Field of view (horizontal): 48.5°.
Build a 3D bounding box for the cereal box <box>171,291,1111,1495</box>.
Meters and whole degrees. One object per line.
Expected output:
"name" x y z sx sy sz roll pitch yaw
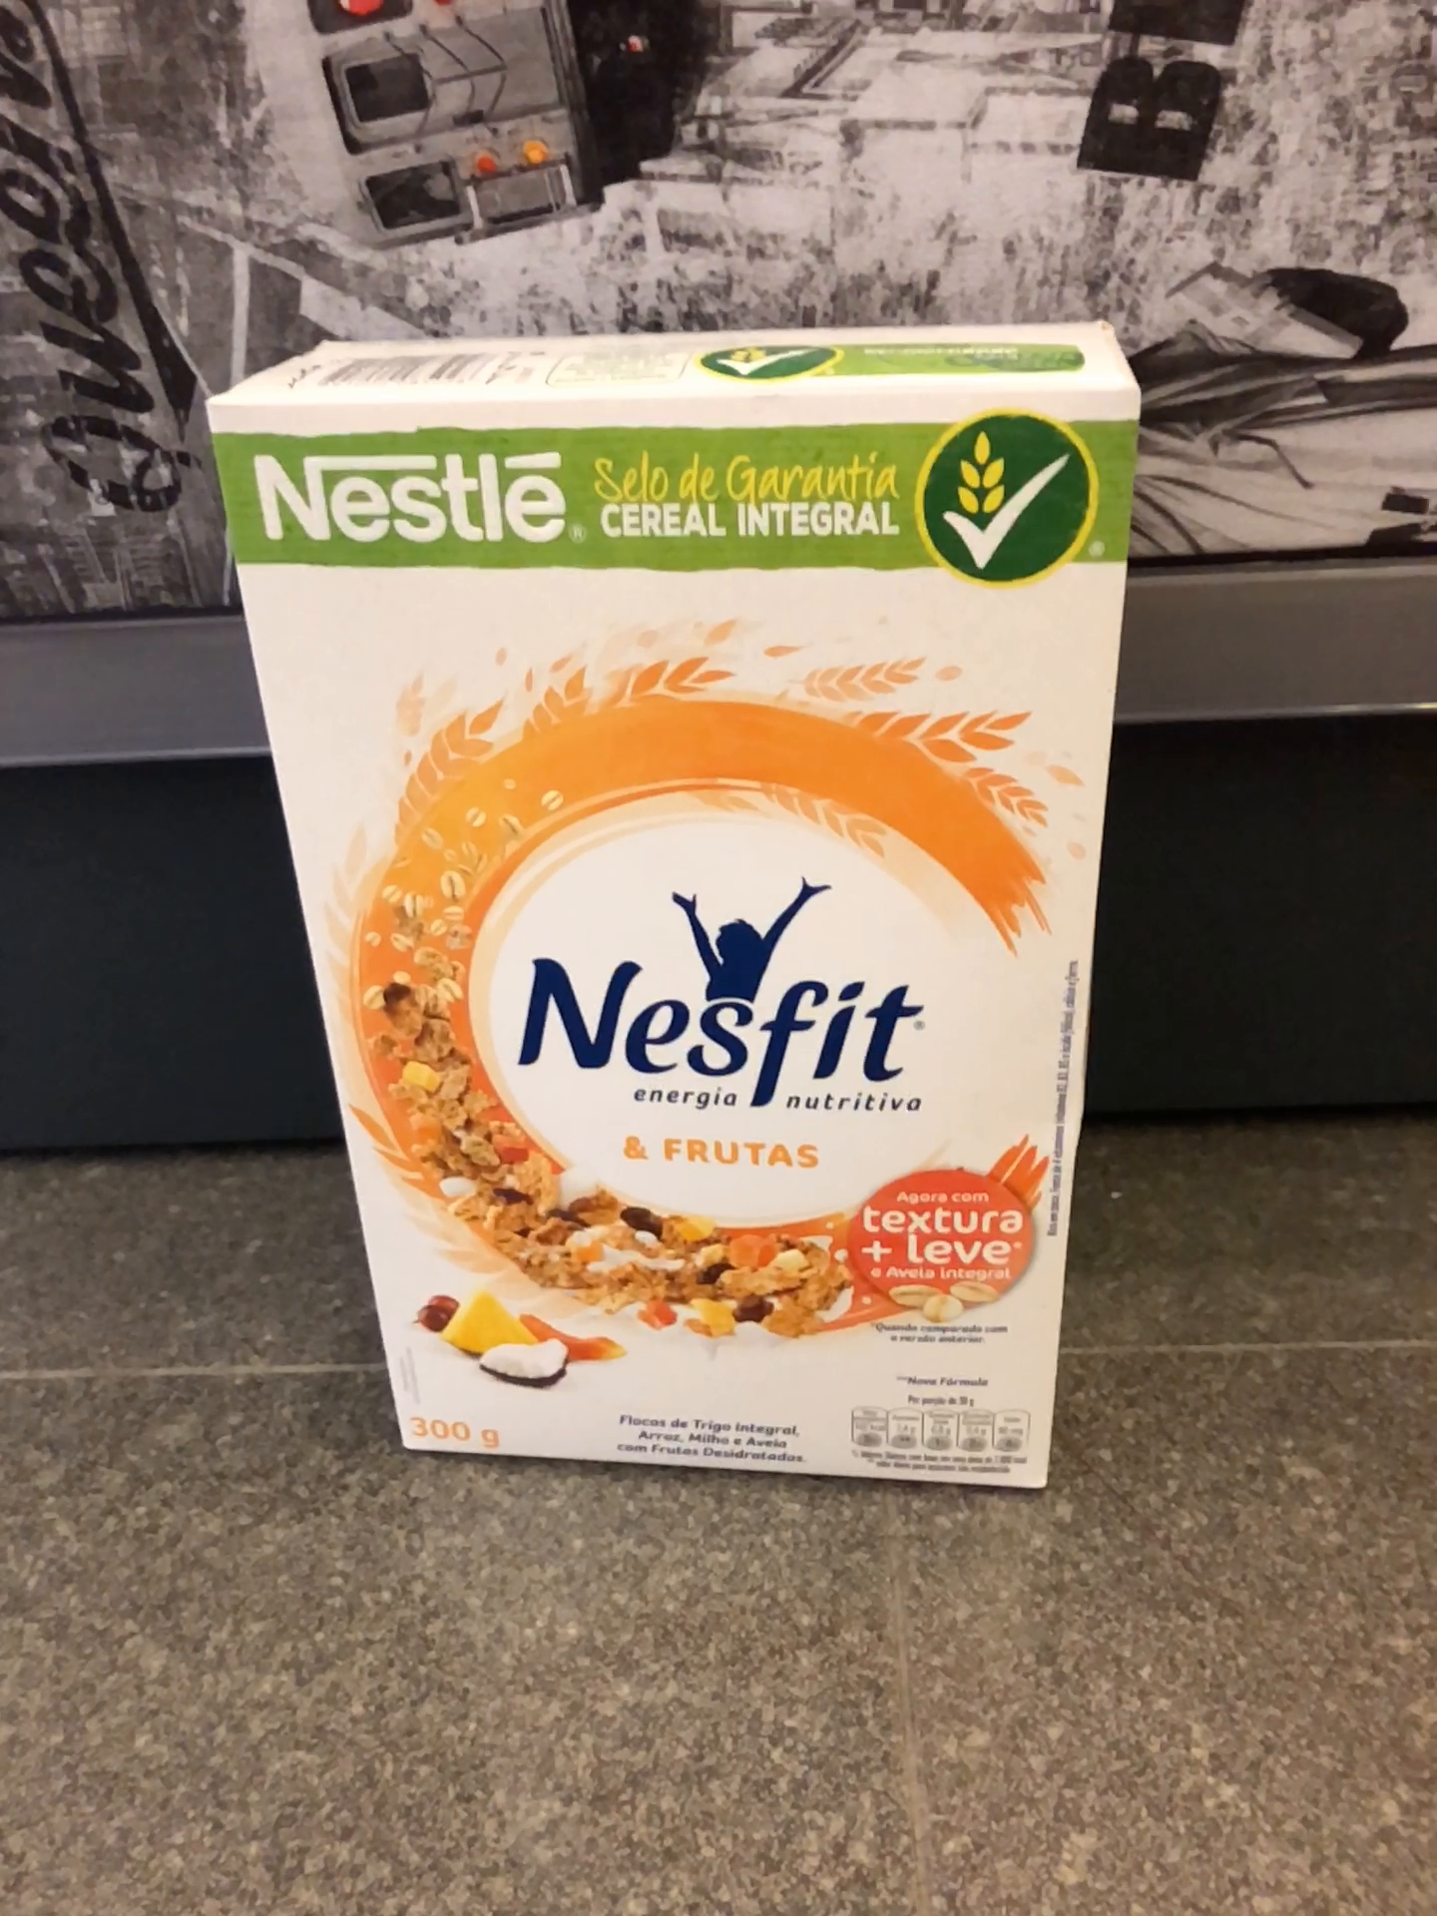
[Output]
"cereal box" -0.004 -0.002 0.344 0.150 0.248 0.071 1 31 7
